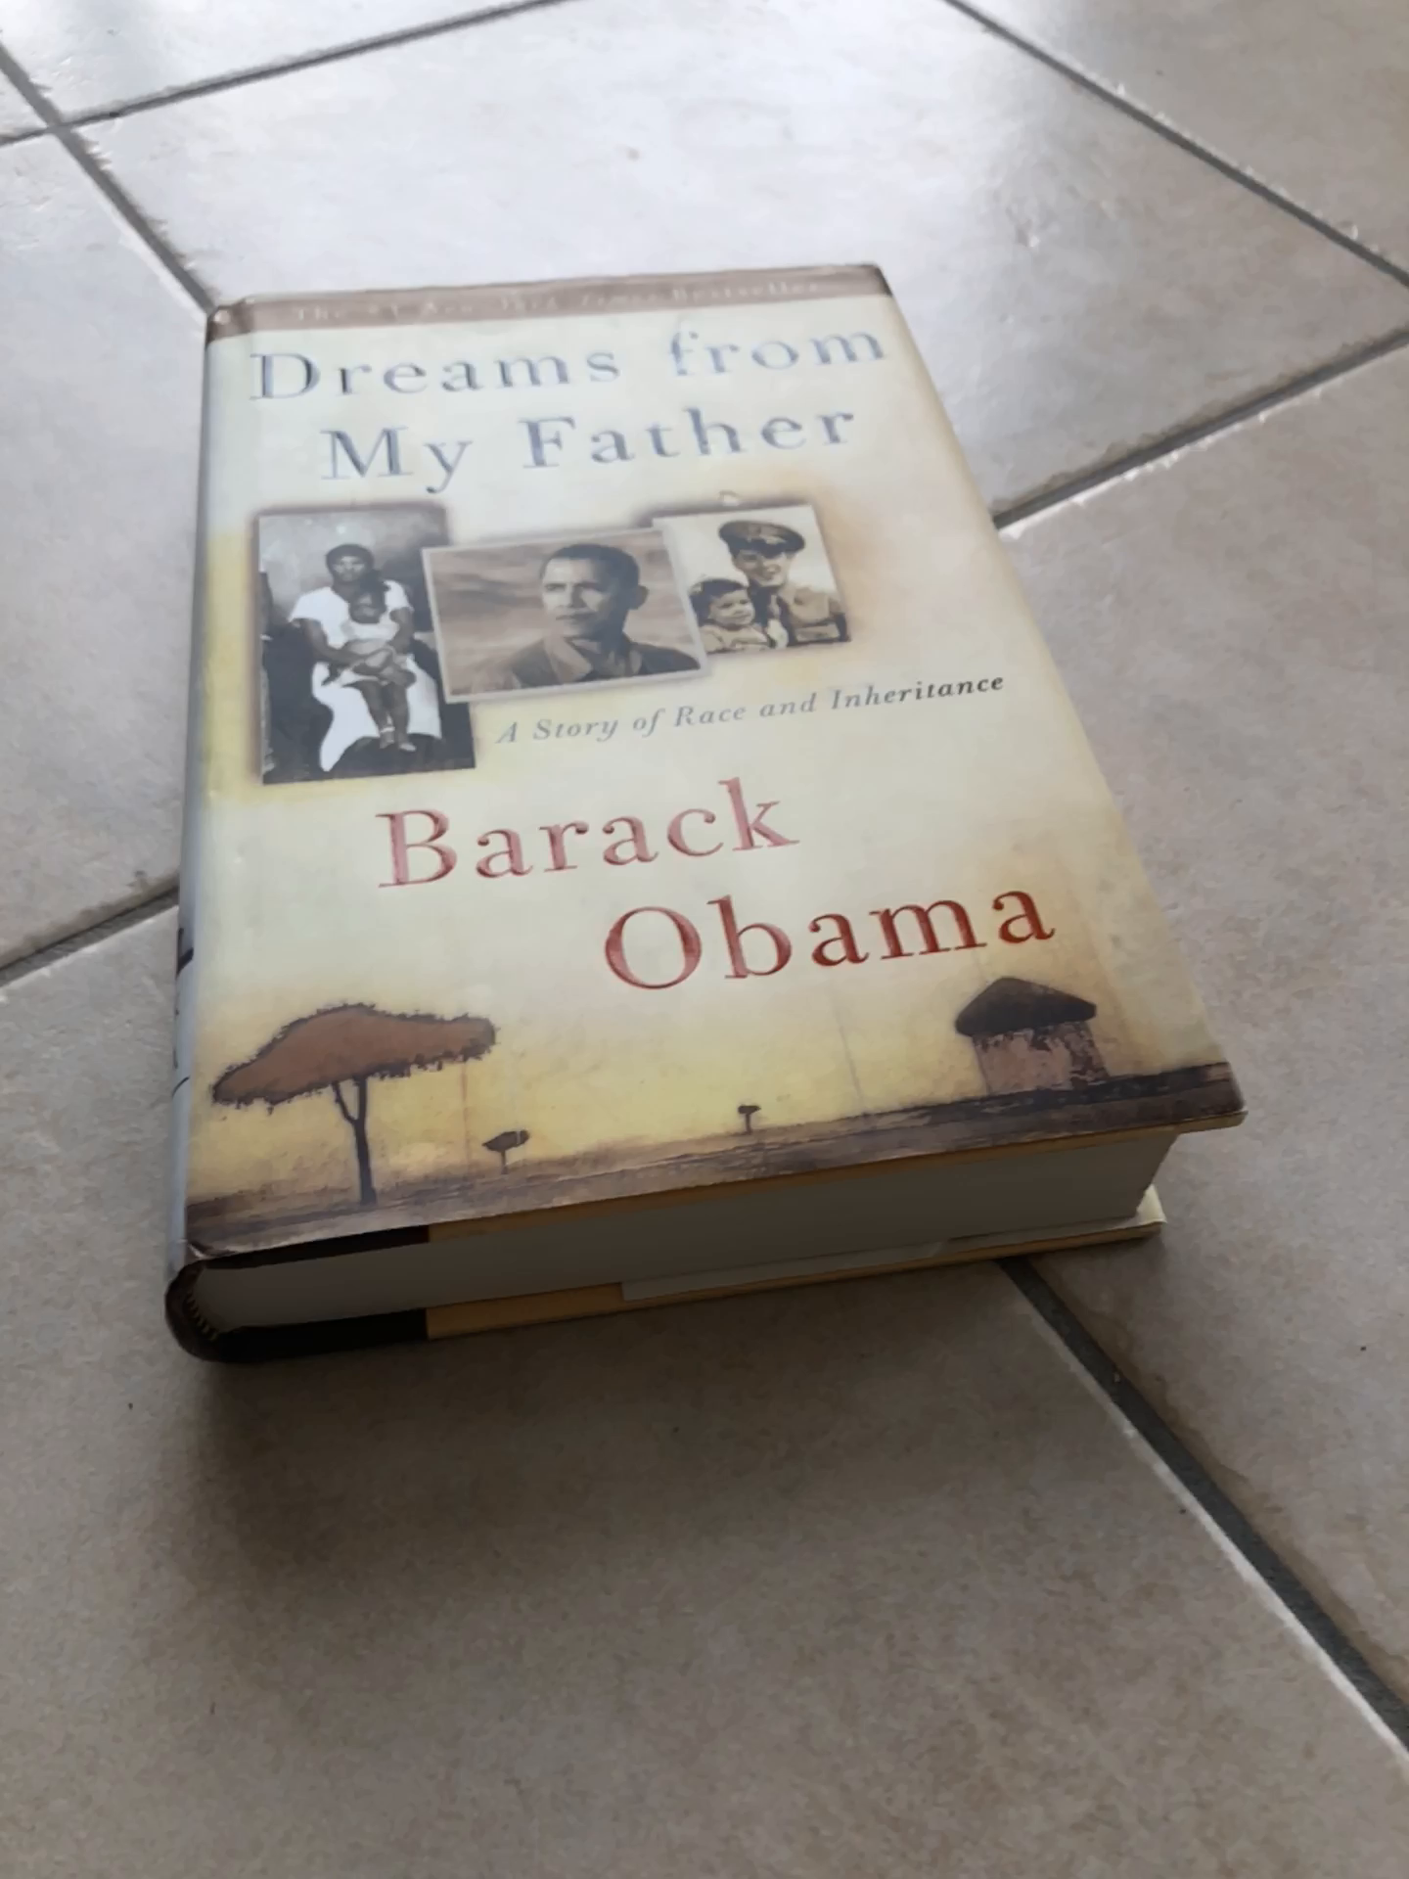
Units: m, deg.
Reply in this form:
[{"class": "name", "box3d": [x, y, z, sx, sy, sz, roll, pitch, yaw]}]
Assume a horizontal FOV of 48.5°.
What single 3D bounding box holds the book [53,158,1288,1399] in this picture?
[{"class": "book", "box3d": [-0.022, -0.060, 0.313, 0.170, 0.050, 0.271, -6, 53, -6]}]
